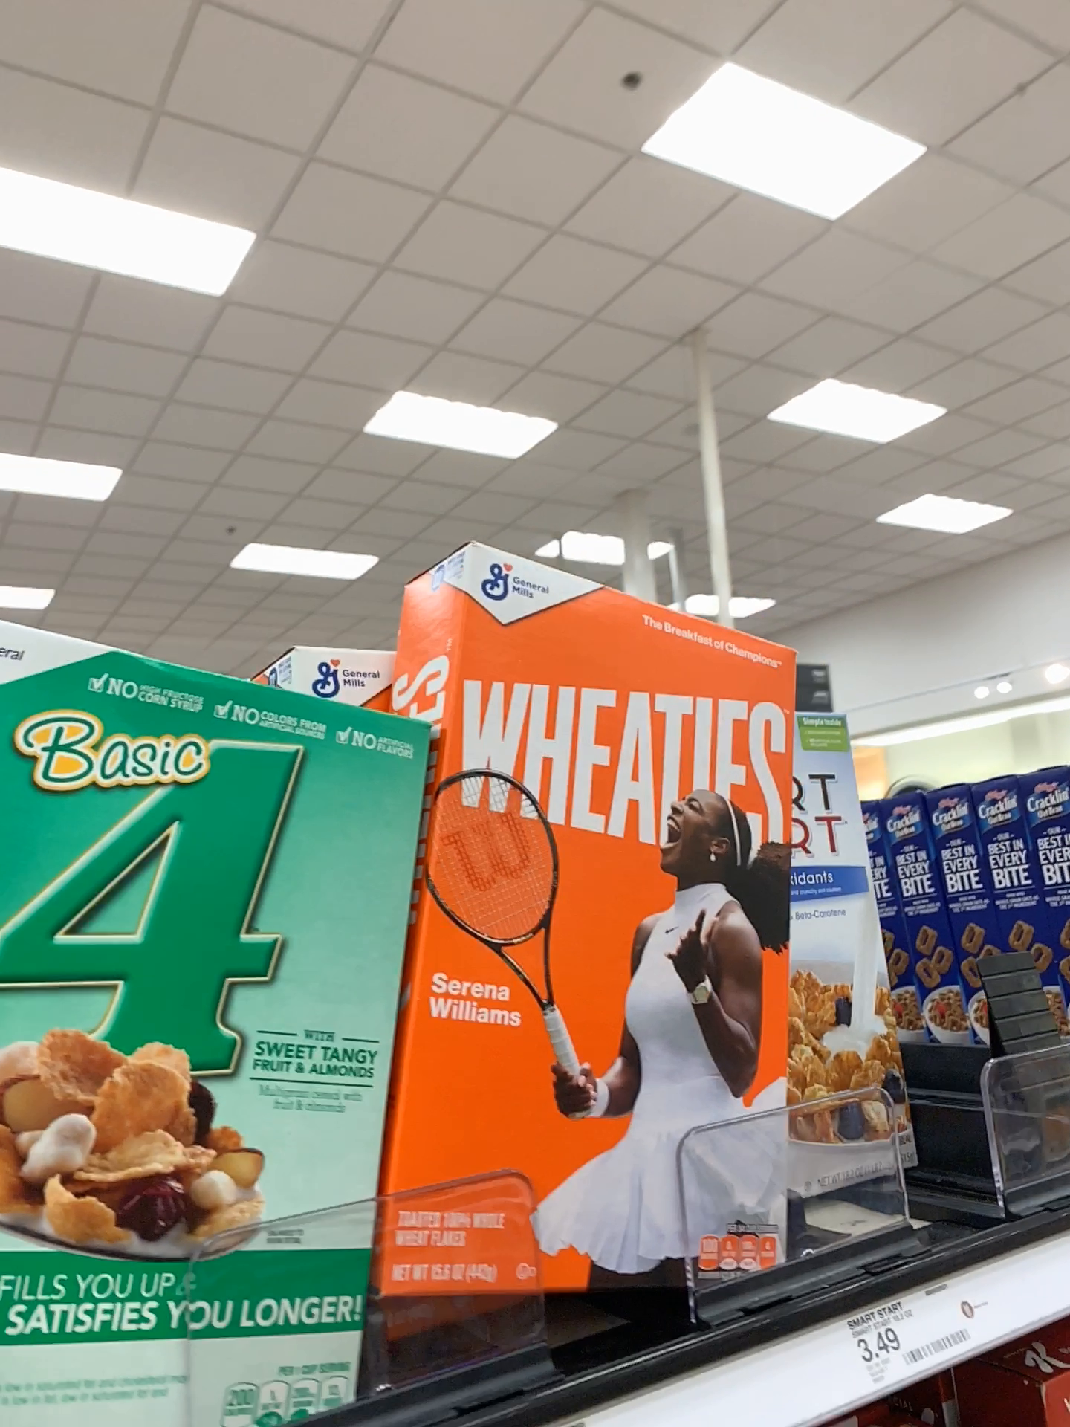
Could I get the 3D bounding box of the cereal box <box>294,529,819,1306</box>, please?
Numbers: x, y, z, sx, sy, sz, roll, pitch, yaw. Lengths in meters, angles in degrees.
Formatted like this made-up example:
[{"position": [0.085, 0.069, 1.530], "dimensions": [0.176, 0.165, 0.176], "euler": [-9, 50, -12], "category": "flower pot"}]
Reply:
[{"position": [0.024, 0.091, 0.490], "dimensions": [0.199, 0.291, 0.070], "euler": [15, -19, -27], "category": "cereal box"}]
